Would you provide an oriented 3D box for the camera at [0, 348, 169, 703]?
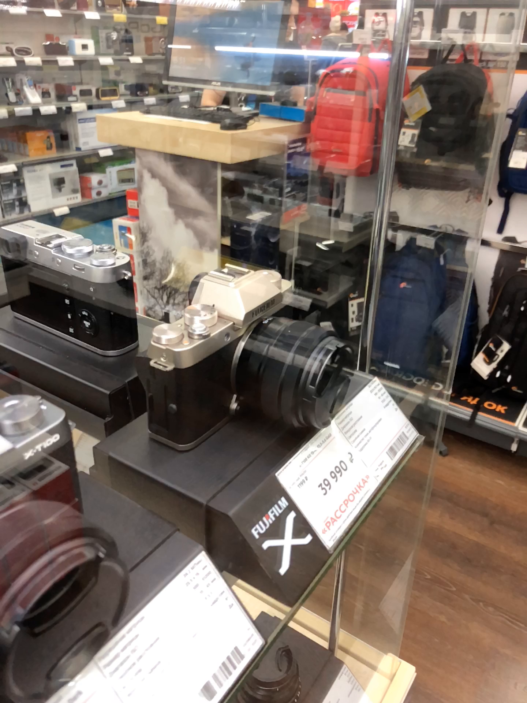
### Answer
[{"bbox_3d":[-0.121,0.077,0.202,0.102,0.086,0.141,18,32,28],"label":"camera"}]

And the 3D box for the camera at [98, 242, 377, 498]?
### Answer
[{"bbox_3d":[-0.009,-0.001,0.344,0.100,0.080,0.132,17,32,27],"label":"camera"}]

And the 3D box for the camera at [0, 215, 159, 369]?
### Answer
[{"bbox_3d":[-0.149,-0.051,0.449,0.132,0.076,0.055,20,33,31],"label":"camera"}]
